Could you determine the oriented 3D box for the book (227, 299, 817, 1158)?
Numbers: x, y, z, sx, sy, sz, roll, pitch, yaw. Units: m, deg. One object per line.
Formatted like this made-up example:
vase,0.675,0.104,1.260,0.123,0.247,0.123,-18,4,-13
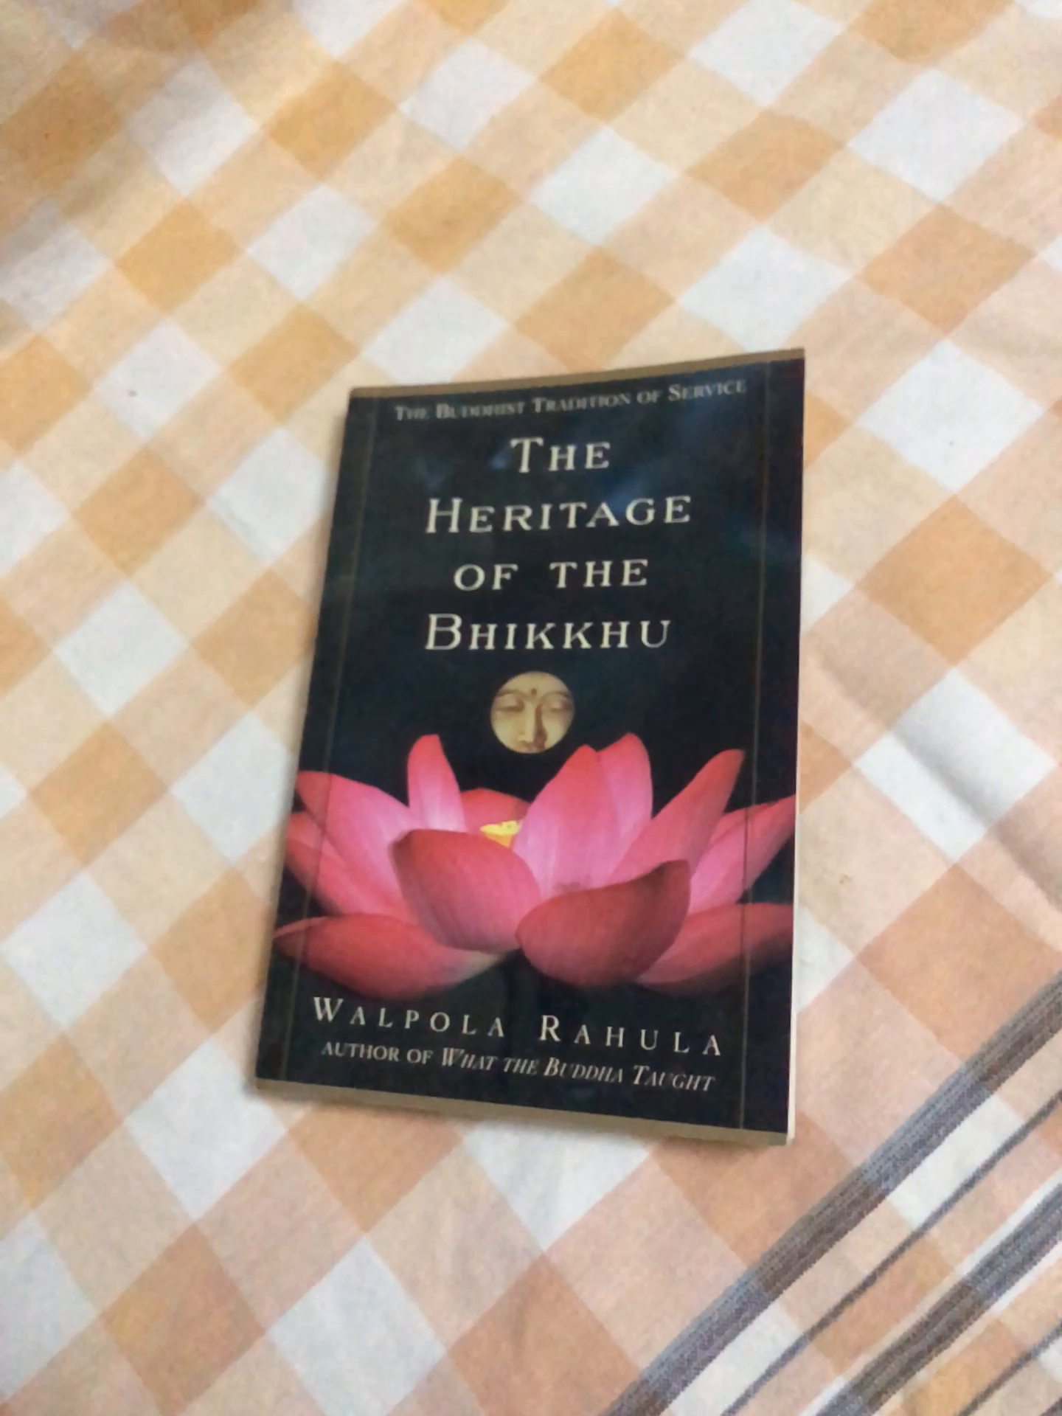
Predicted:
book,0.005,-0.002,0.321,0.140,0.030,0.220,0,72,15
